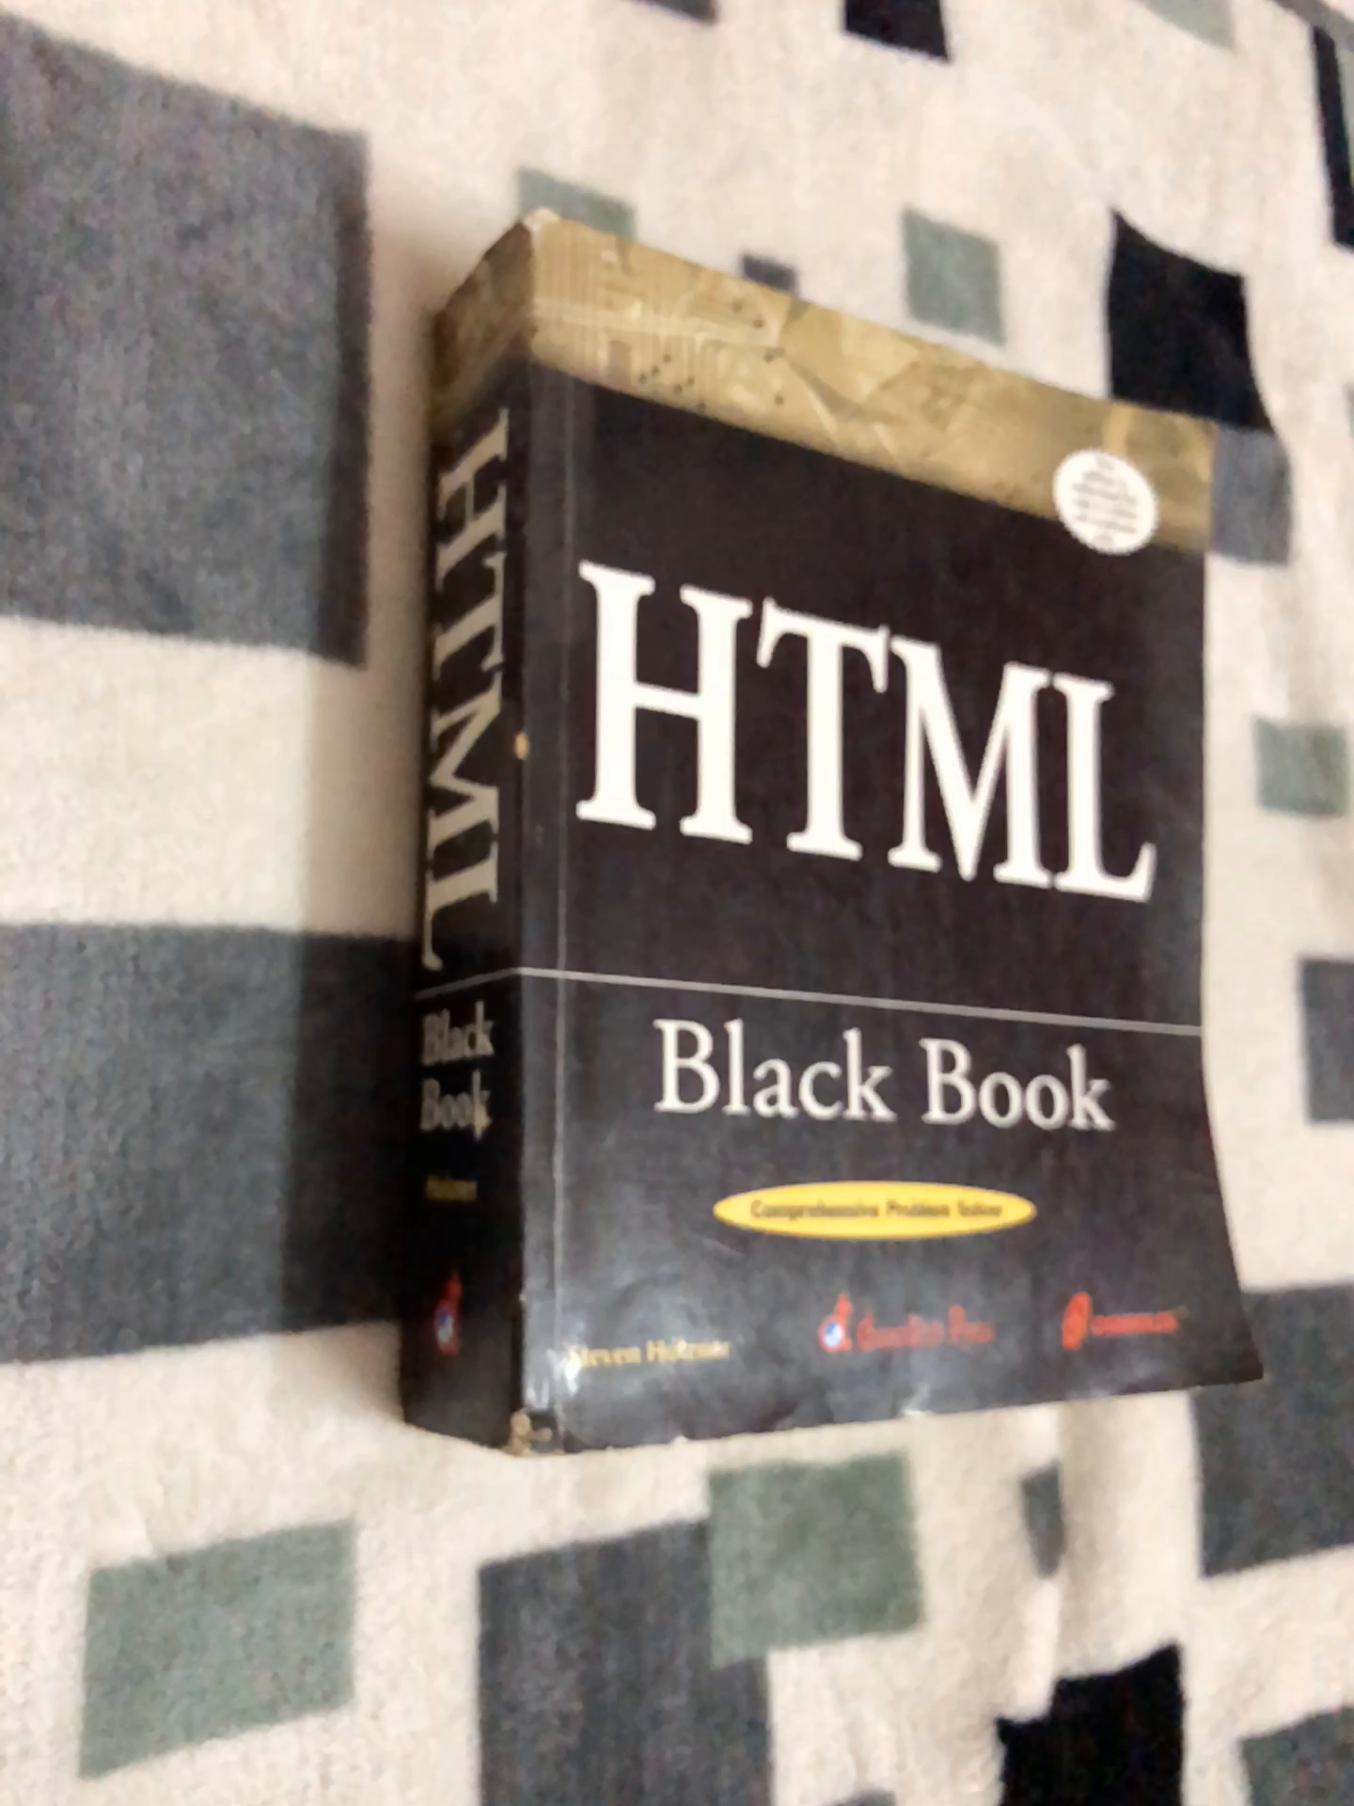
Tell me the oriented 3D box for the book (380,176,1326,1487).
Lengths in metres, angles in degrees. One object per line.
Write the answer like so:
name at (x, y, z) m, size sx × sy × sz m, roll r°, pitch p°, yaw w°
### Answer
book at (0.040, -0.008, 0.337) m, size 0.191 × 0.070 × 0.230 m, roll 5°, pitch 77°, yaw -30°
